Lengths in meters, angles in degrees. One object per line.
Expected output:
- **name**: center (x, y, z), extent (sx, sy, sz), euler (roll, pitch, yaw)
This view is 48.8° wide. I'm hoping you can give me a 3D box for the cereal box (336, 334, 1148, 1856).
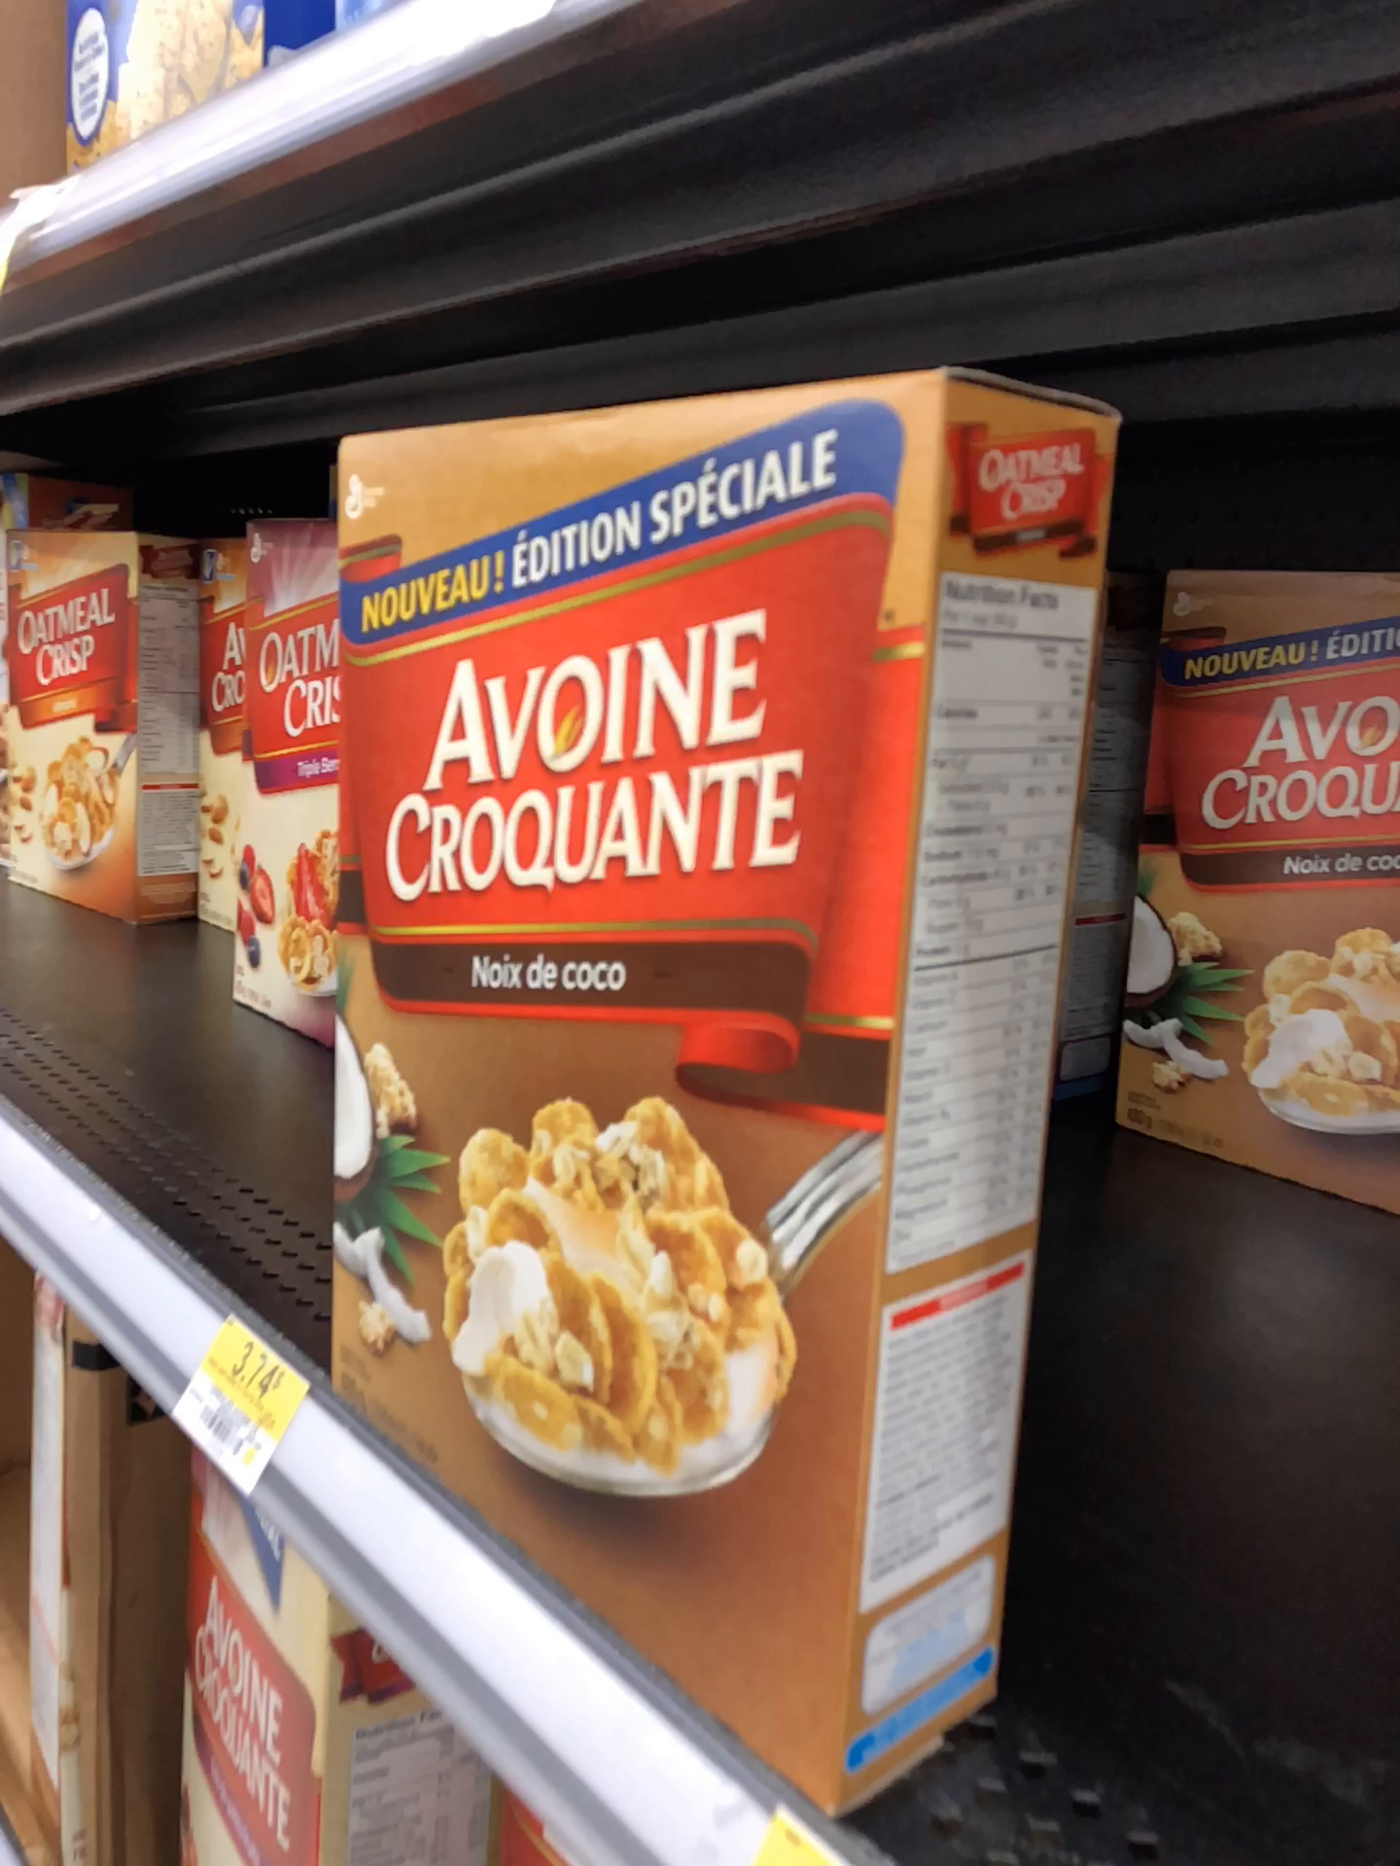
- **cereal box**: center (-0.012, 0.019, 0.354), extent (0.050, 0.269, 0.200), euler (-5, 14, -40)
